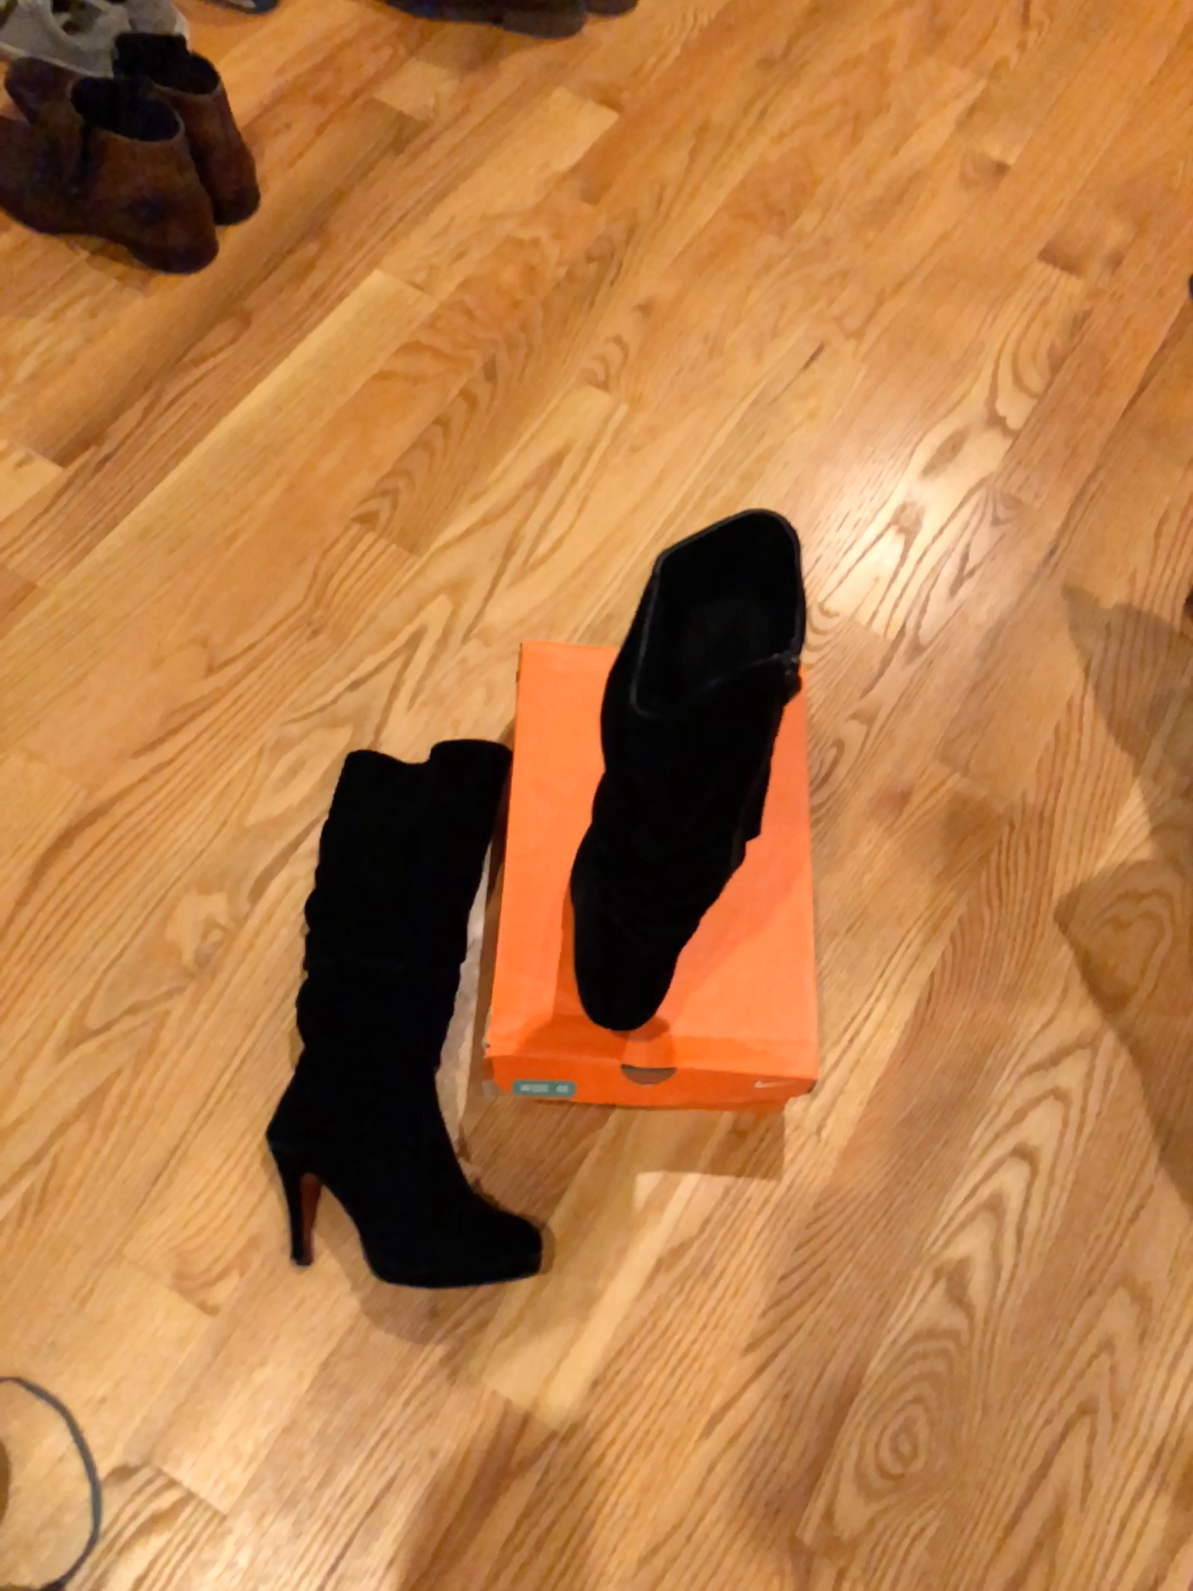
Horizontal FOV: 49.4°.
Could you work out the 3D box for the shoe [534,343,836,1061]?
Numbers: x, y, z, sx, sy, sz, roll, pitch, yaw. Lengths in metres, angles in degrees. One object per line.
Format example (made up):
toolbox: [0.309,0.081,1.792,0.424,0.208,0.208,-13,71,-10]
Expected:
shoe: [0.034,-0.016,0.721,0.089,0.398,0.217,9,63,-2]

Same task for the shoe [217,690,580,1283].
shoe: [-0.124,0.125,0.922,0.206,0.089,0.400,3,63,-2]
